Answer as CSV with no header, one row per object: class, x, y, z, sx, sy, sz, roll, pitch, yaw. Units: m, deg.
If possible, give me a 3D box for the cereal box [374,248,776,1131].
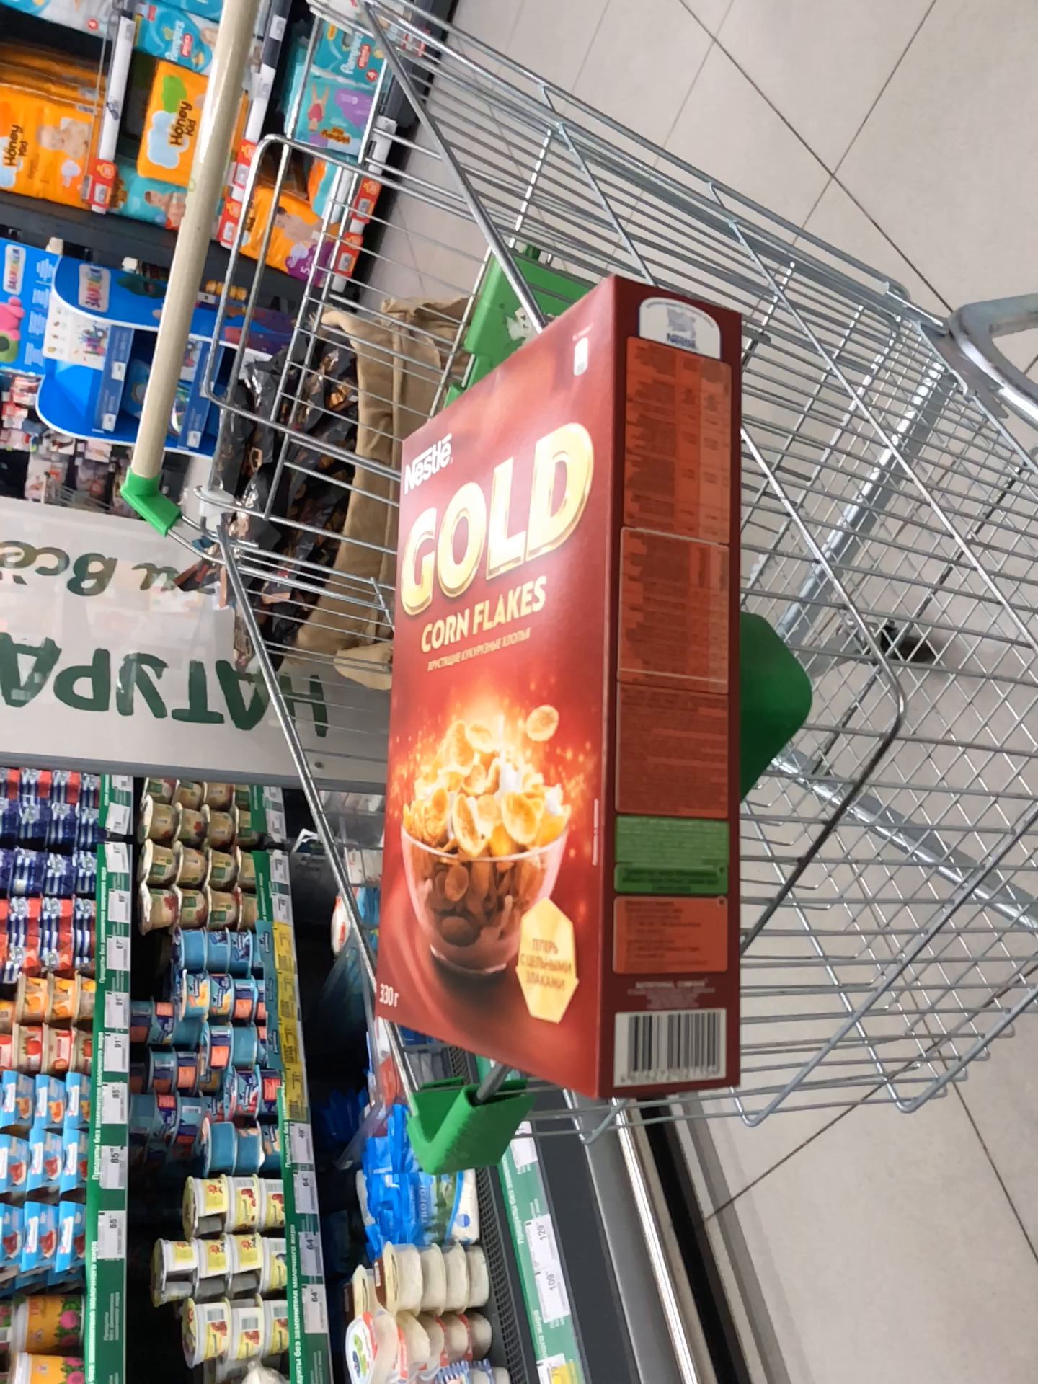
cereal box,0.012,0.005,0.464,0.211,0.060,0.280,-13,73,63
